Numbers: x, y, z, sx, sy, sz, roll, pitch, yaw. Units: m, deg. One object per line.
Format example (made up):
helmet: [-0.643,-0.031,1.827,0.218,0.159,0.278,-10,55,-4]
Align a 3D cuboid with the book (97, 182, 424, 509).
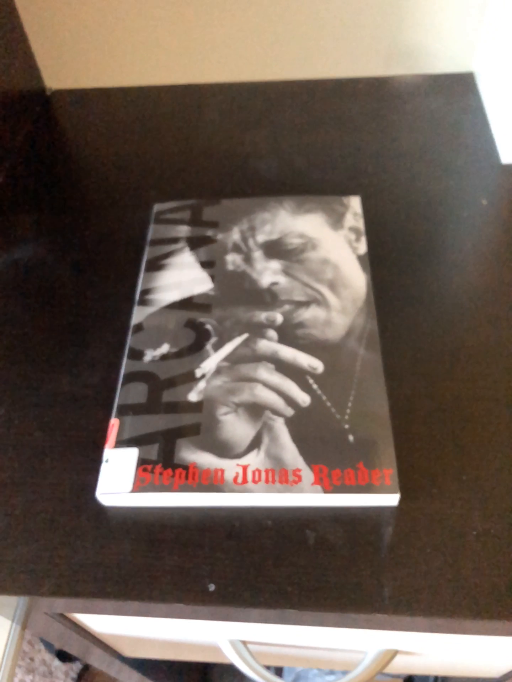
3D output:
book: [0.005,-0.014,0.401,0.179,0.024,0.260,-1,54,4]
